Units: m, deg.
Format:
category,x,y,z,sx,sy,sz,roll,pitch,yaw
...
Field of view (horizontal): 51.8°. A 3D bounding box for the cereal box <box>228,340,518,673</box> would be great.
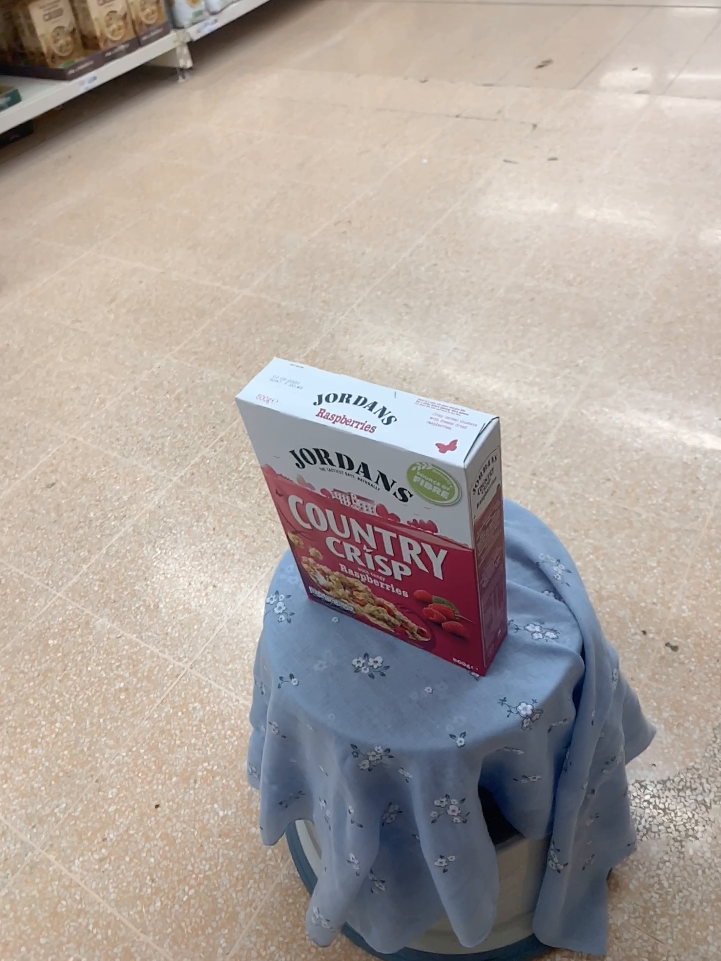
category,x,y,z,sx,sy,sz,roll,pitch,yaw
cereal box,0.024,0.030,0.613,0.201,0.268,0.060,19,55,27
